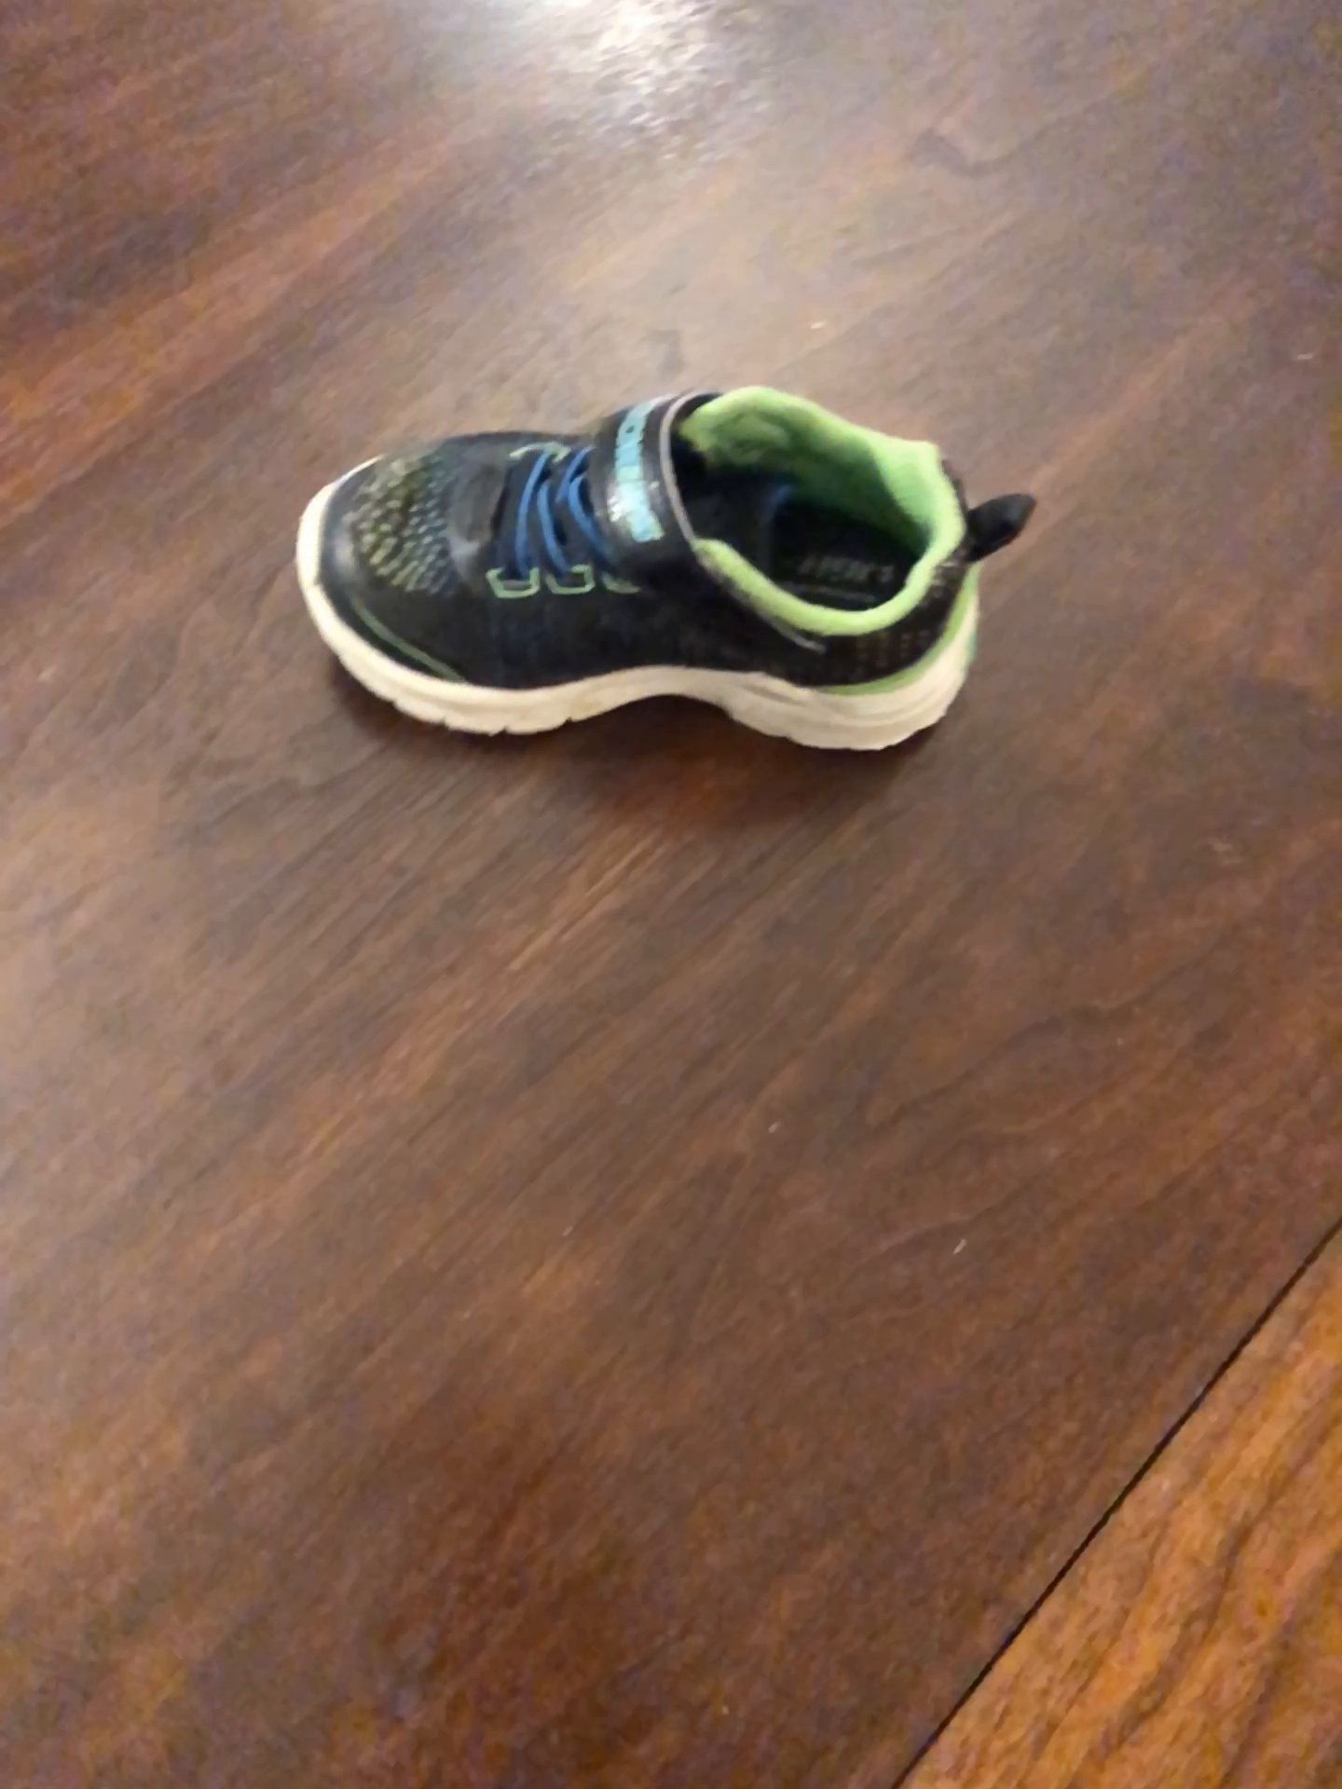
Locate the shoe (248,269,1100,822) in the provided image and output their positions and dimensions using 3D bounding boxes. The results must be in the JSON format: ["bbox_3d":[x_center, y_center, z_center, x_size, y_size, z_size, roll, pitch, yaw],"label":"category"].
[{"bbox_3d":[0.000,-0.076,0.346,0.170,0.080,0.080,4,69,-4],"label":"shoe"}]
